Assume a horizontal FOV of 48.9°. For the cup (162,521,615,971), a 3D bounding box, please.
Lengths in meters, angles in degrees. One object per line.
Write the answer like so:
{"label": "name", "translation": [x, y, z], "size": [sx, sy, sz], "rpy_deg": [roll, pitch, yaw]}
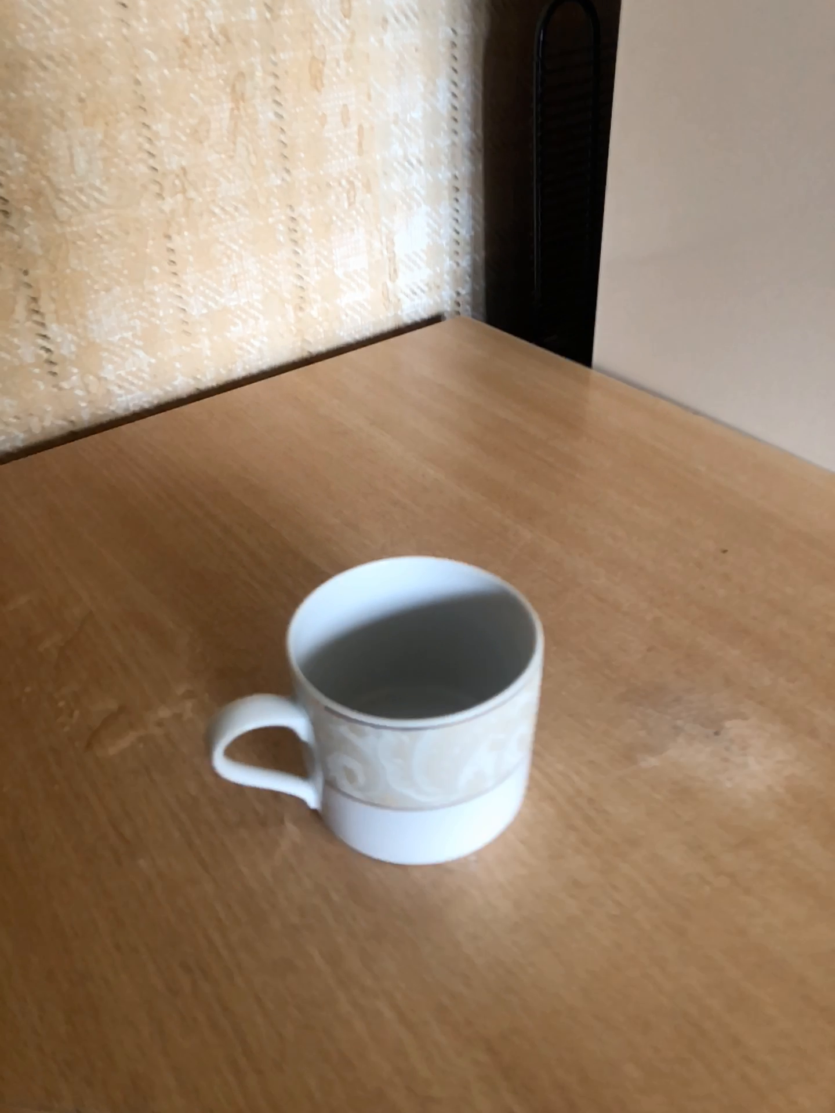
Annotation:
{"label": "cup", "translation": [-0.009, 0.051, 0.276], "size": [0.105, 0.069, 0.075], "rpy_deg": [-17, 38, -20]}
